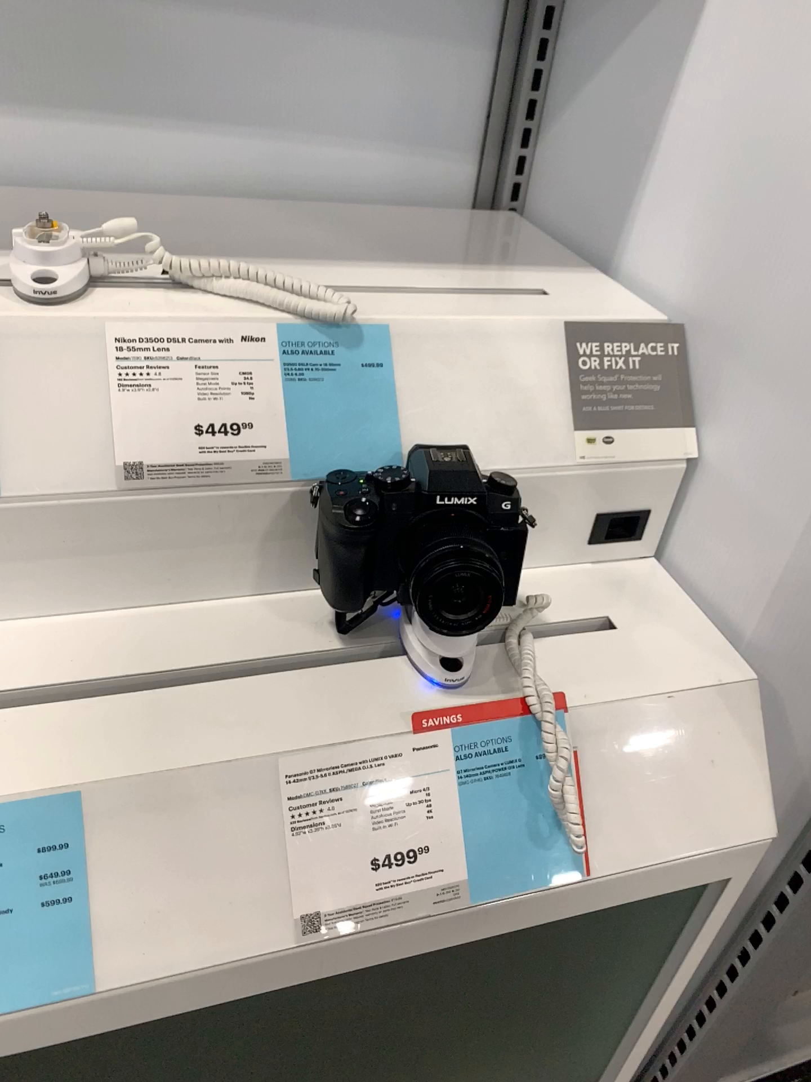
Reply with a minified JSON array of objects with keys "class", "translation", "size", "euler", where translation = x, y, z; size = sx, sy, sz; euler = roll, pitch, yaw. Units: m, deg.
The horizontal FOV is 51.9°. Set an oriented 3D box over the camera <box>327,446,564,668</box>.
[{"class":"camera","translation":[0.016,0.008,0.507],"size":[0.118,0.080,0.115],"euler":[1,35,-9]}]
